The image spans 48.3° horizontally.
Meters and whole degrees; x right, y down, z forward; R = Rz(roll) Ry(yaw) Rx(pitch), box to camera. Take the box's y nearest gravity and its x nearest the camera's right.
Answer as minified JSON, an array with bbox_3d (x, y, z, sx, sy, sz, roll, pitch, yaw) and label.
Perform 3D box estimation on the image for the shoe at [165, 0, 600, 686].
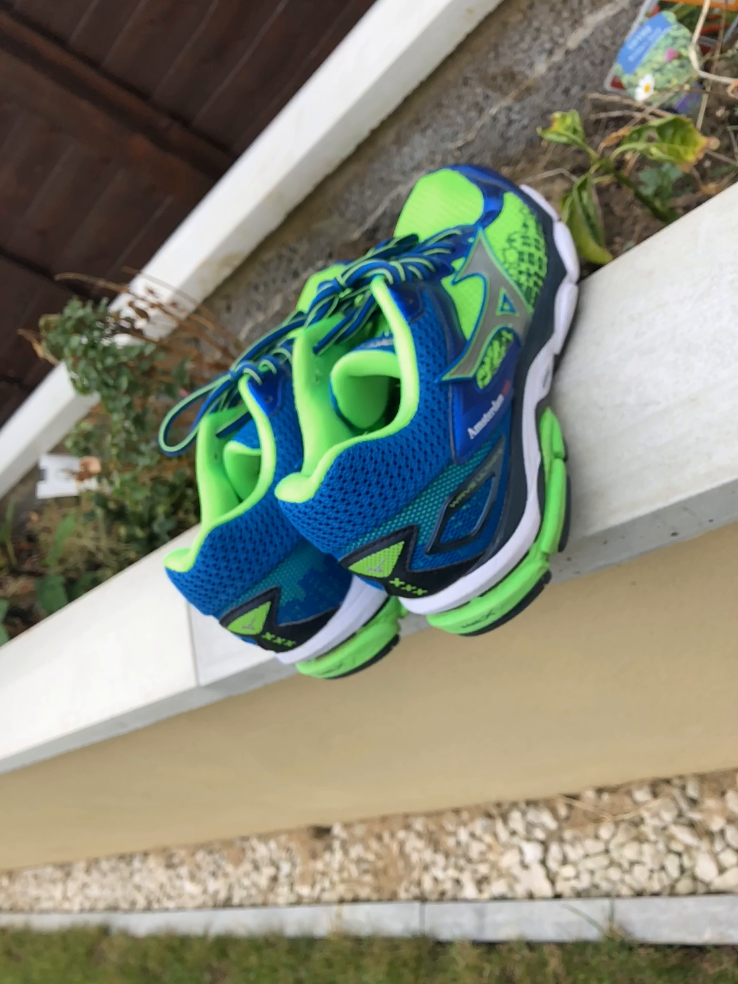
[{"bbox_3d":[0.017,-0.078,0.388,0.110,0.119,0.291,-30,42,42],"label":"shoe"}]

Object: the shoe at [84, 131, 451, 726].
[{"bbox_3d":[-0.050,-0.043,0.451,0.110,0.119,0.291,-36,42,37],"label":"shoe"}]
